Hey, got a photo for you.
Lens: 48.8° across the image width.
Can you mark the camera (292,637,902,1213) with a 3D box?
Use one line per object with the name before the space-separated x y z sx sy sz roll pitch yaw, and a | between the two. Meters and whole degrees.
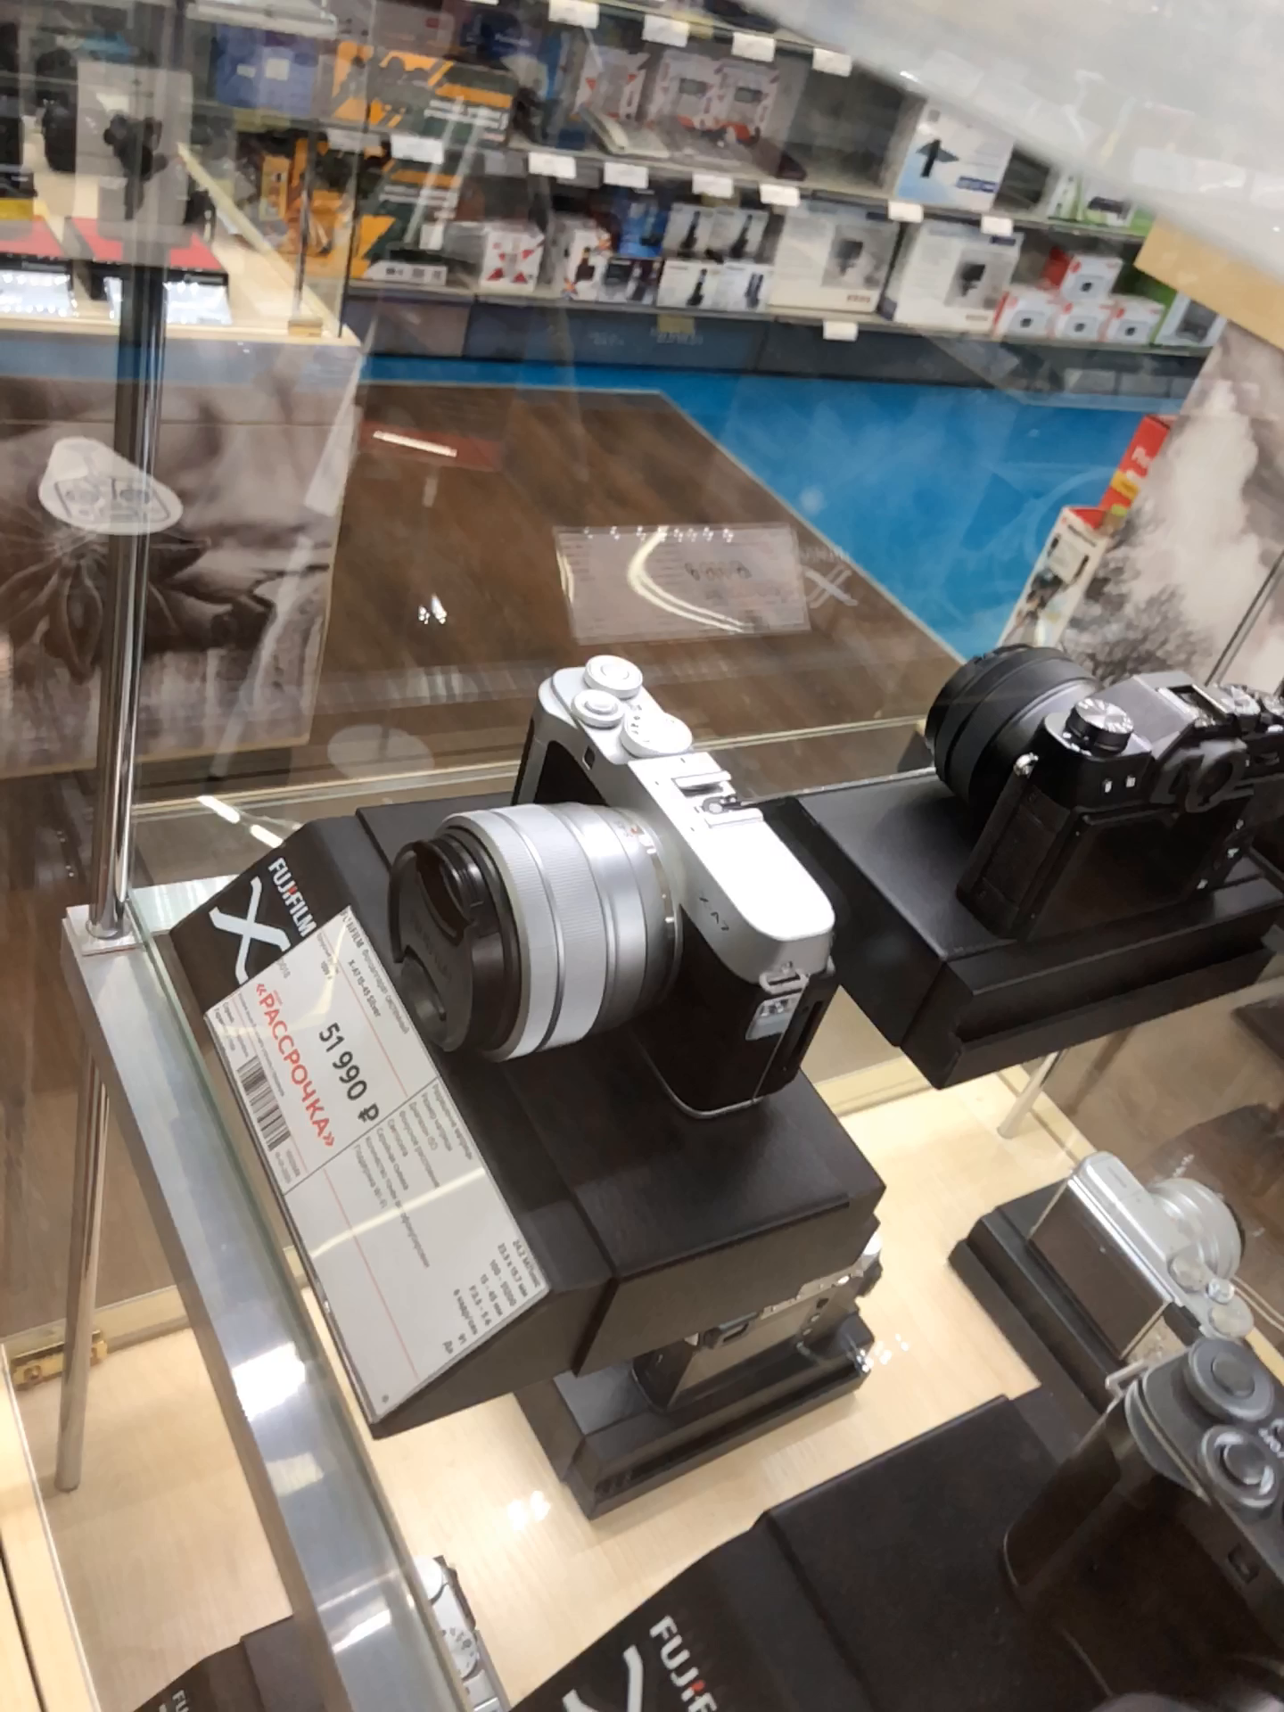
camera | -0.019 0.009 0.375 0.100 0.066 0.134 -8 44 -31
